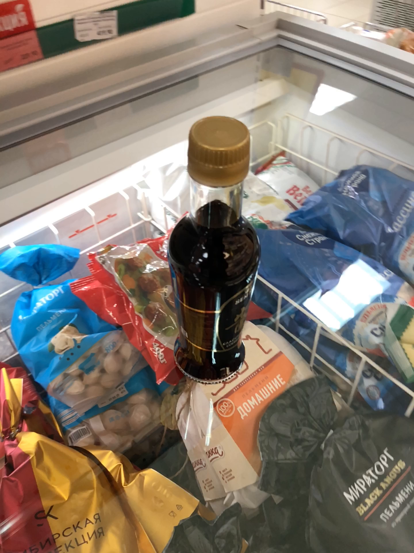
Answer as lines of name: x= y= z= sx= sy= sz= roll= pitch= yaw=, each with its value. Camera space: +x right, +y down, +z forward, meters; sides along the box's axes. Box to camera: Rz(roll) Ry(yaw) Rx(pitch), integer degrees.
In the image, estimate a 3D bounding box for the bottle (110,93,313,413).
bottle: x=0.005 y=-0.005 z=0.285 sx=0.070 sy=0.179 sz=0.070 roll=-1 pitch=45 yaw=1
